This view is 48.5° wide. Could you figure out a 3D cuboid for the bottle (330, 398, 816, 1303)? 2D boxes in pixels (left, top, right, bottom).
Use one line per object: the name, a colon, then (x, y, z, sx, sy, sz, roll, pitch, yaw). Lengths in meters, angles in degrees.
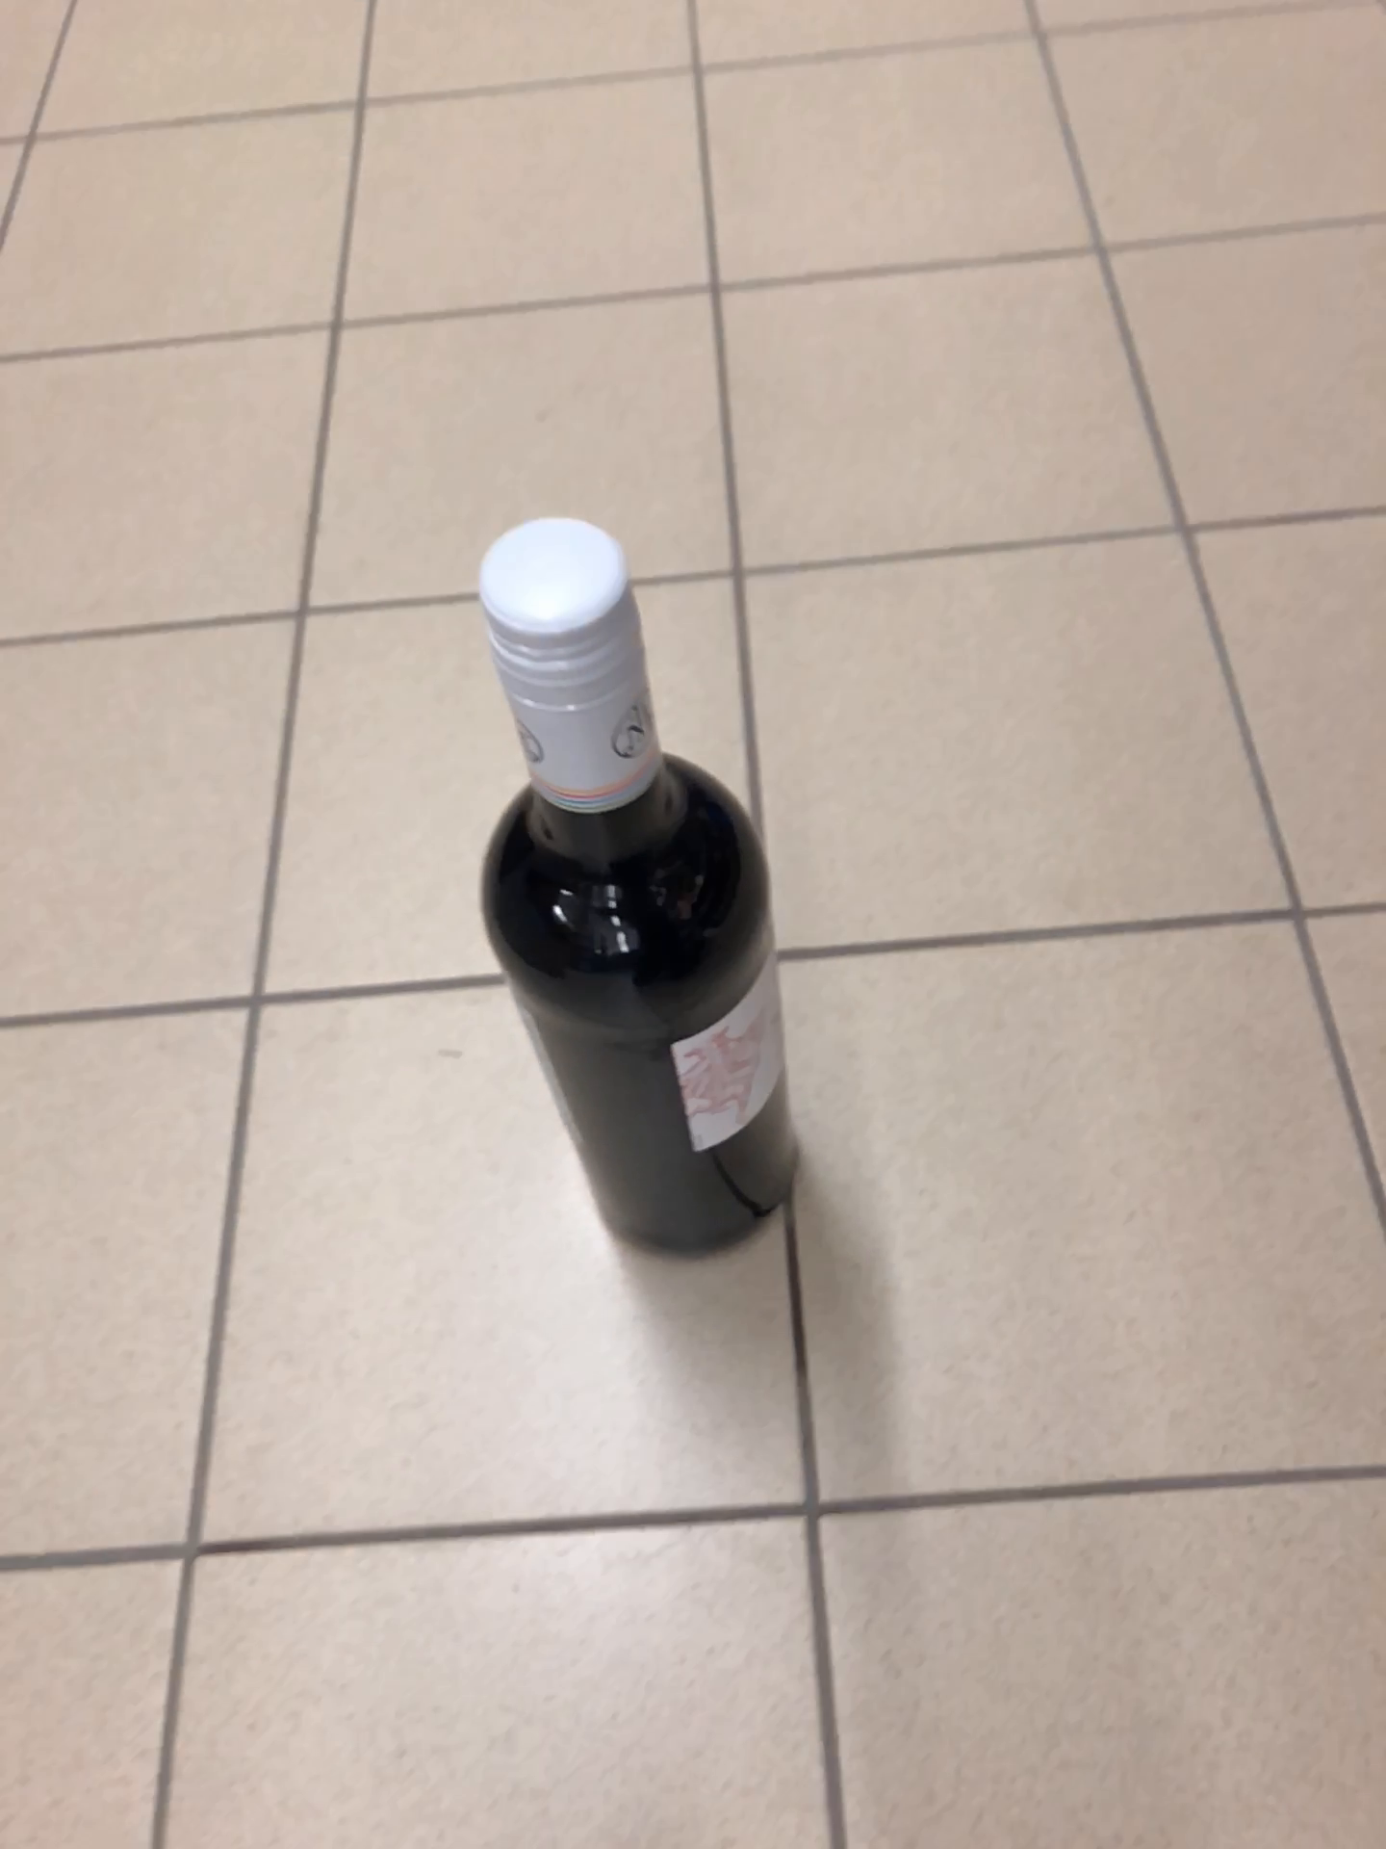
bottle: (-0.015, 0.009, 0.418, 0.080, 0.289, 0.090, -7, 58, 2)
